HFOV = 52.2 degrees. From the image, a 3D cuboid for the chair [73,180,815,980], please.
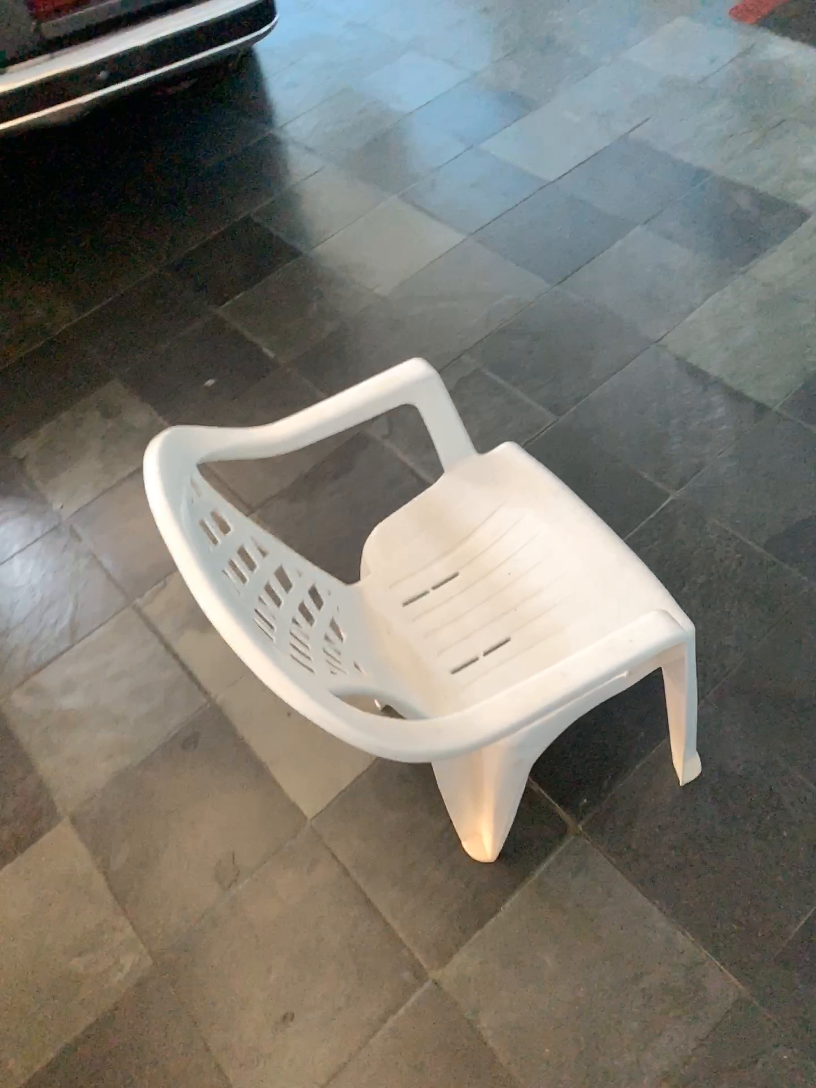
[{"bbox_3d":[0.086,0.083,1.098,0.590,0.717,0.542,-32,55,-12],"label":"chair"}]
